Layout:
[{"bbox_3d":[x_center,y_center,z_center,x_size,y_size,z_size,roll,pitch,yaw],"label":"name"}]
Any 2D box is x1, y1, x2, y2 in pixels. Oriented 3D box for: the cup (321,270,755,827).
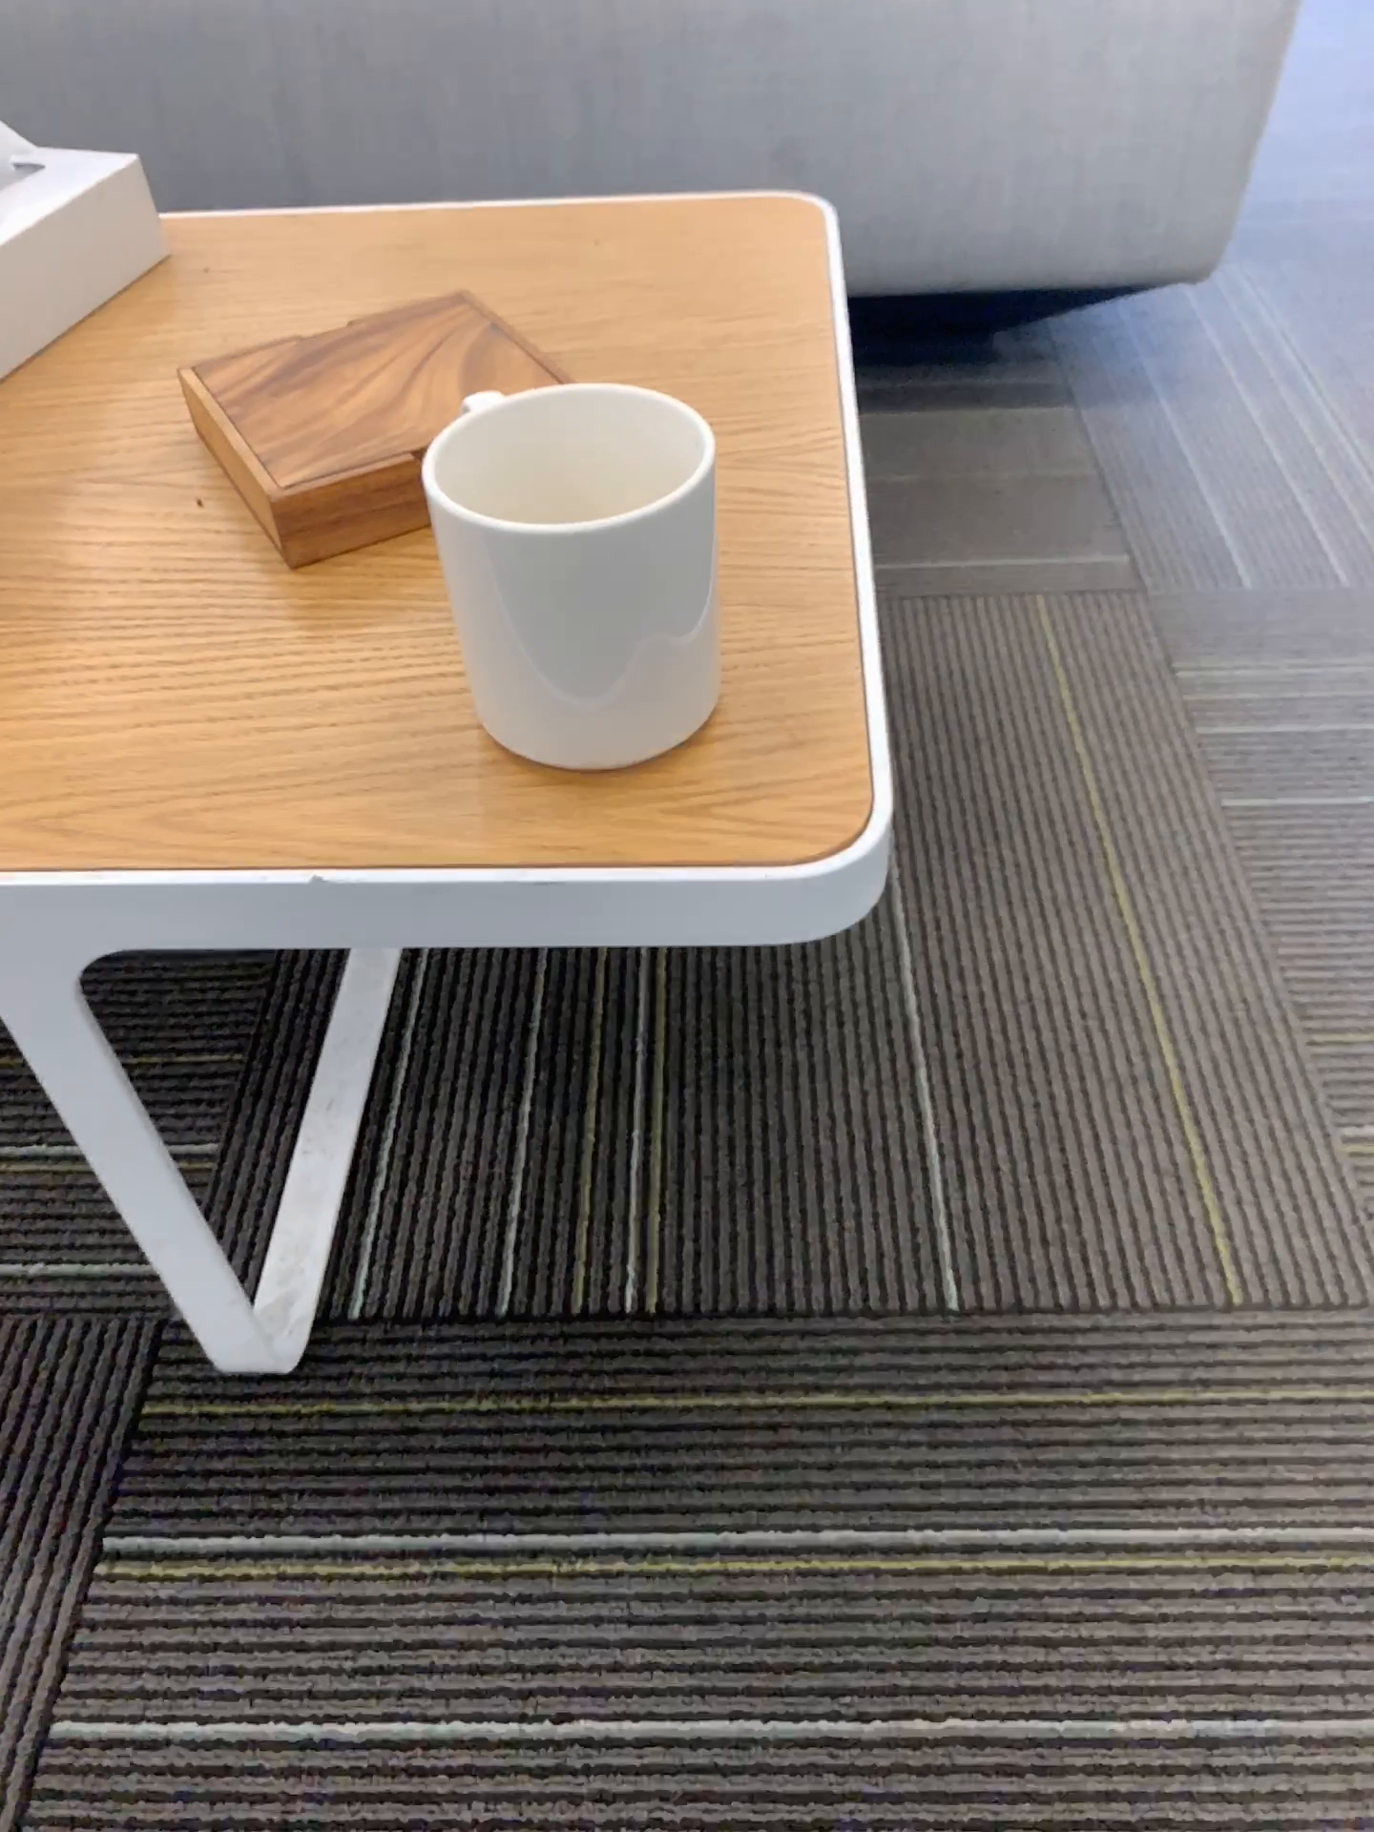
[{"bbox_3d":[-0.046,-0.115,0.428,0.090,0.090,0.141,-15,47,-10],"label":"cup"}]
